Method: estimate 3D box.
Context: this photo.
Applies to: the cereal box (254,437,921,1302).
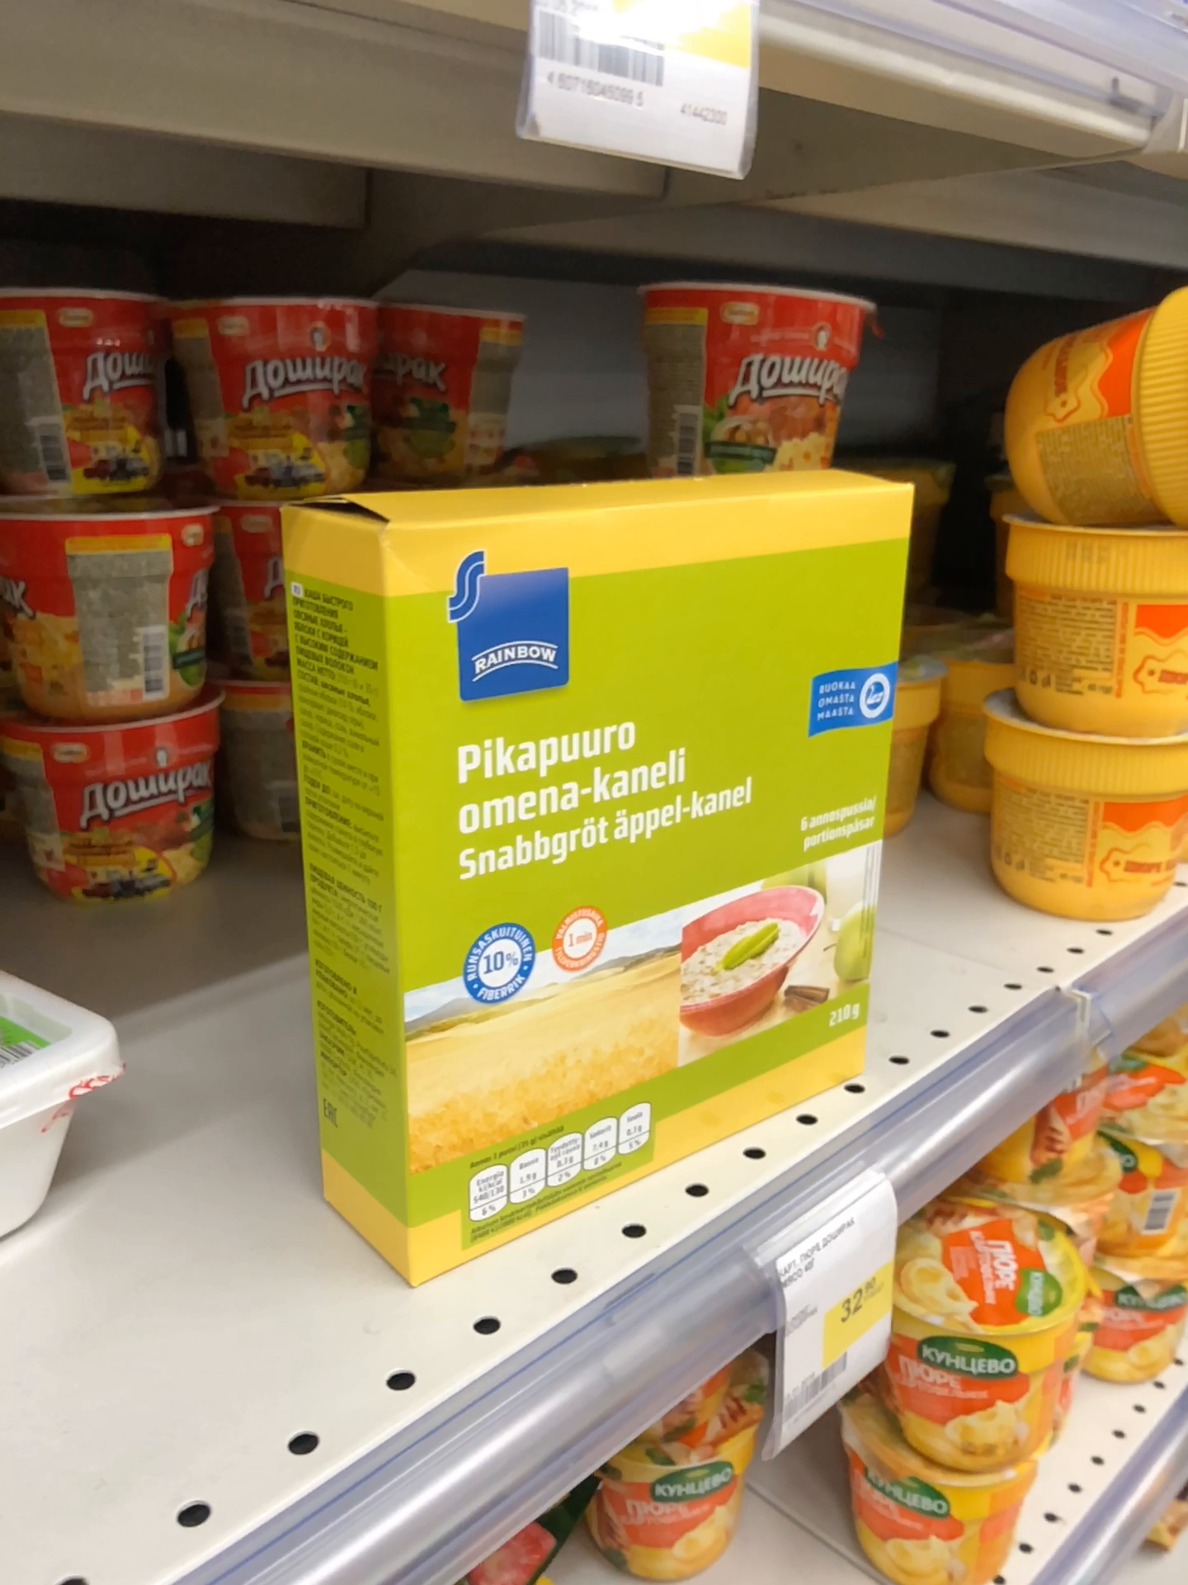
[{"bbox_3d":[0.006,0.007,0.350,0.170,0.189,0.050,-13,22,-38],"label":"cereal box"}]
